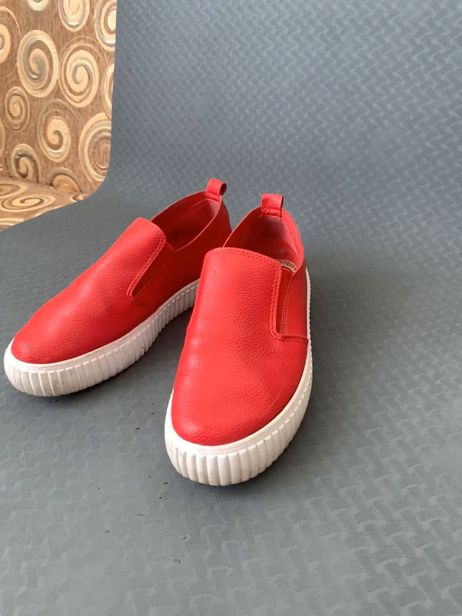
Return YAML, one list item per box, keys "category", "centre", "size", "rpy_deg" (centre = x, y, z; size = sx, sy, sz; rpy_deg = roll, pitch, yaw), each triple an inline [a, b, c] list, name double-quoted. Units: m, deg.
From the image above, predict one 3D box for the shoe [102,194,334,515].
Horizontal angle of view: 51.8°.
- category: "shoe"
  centre: [0.014, 0.005, 0.334]
  size: [0.095, 0.070, 0.241]
  rpy_deg: [5, 39, 13]

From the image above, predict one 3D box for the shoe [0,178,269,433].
- category: "shoe"
  centre: [-0.081, -0.022, 0.391]
  size: [0.096, 0.070, 0.241]
  rpy_deg: [25, 47, 33]
